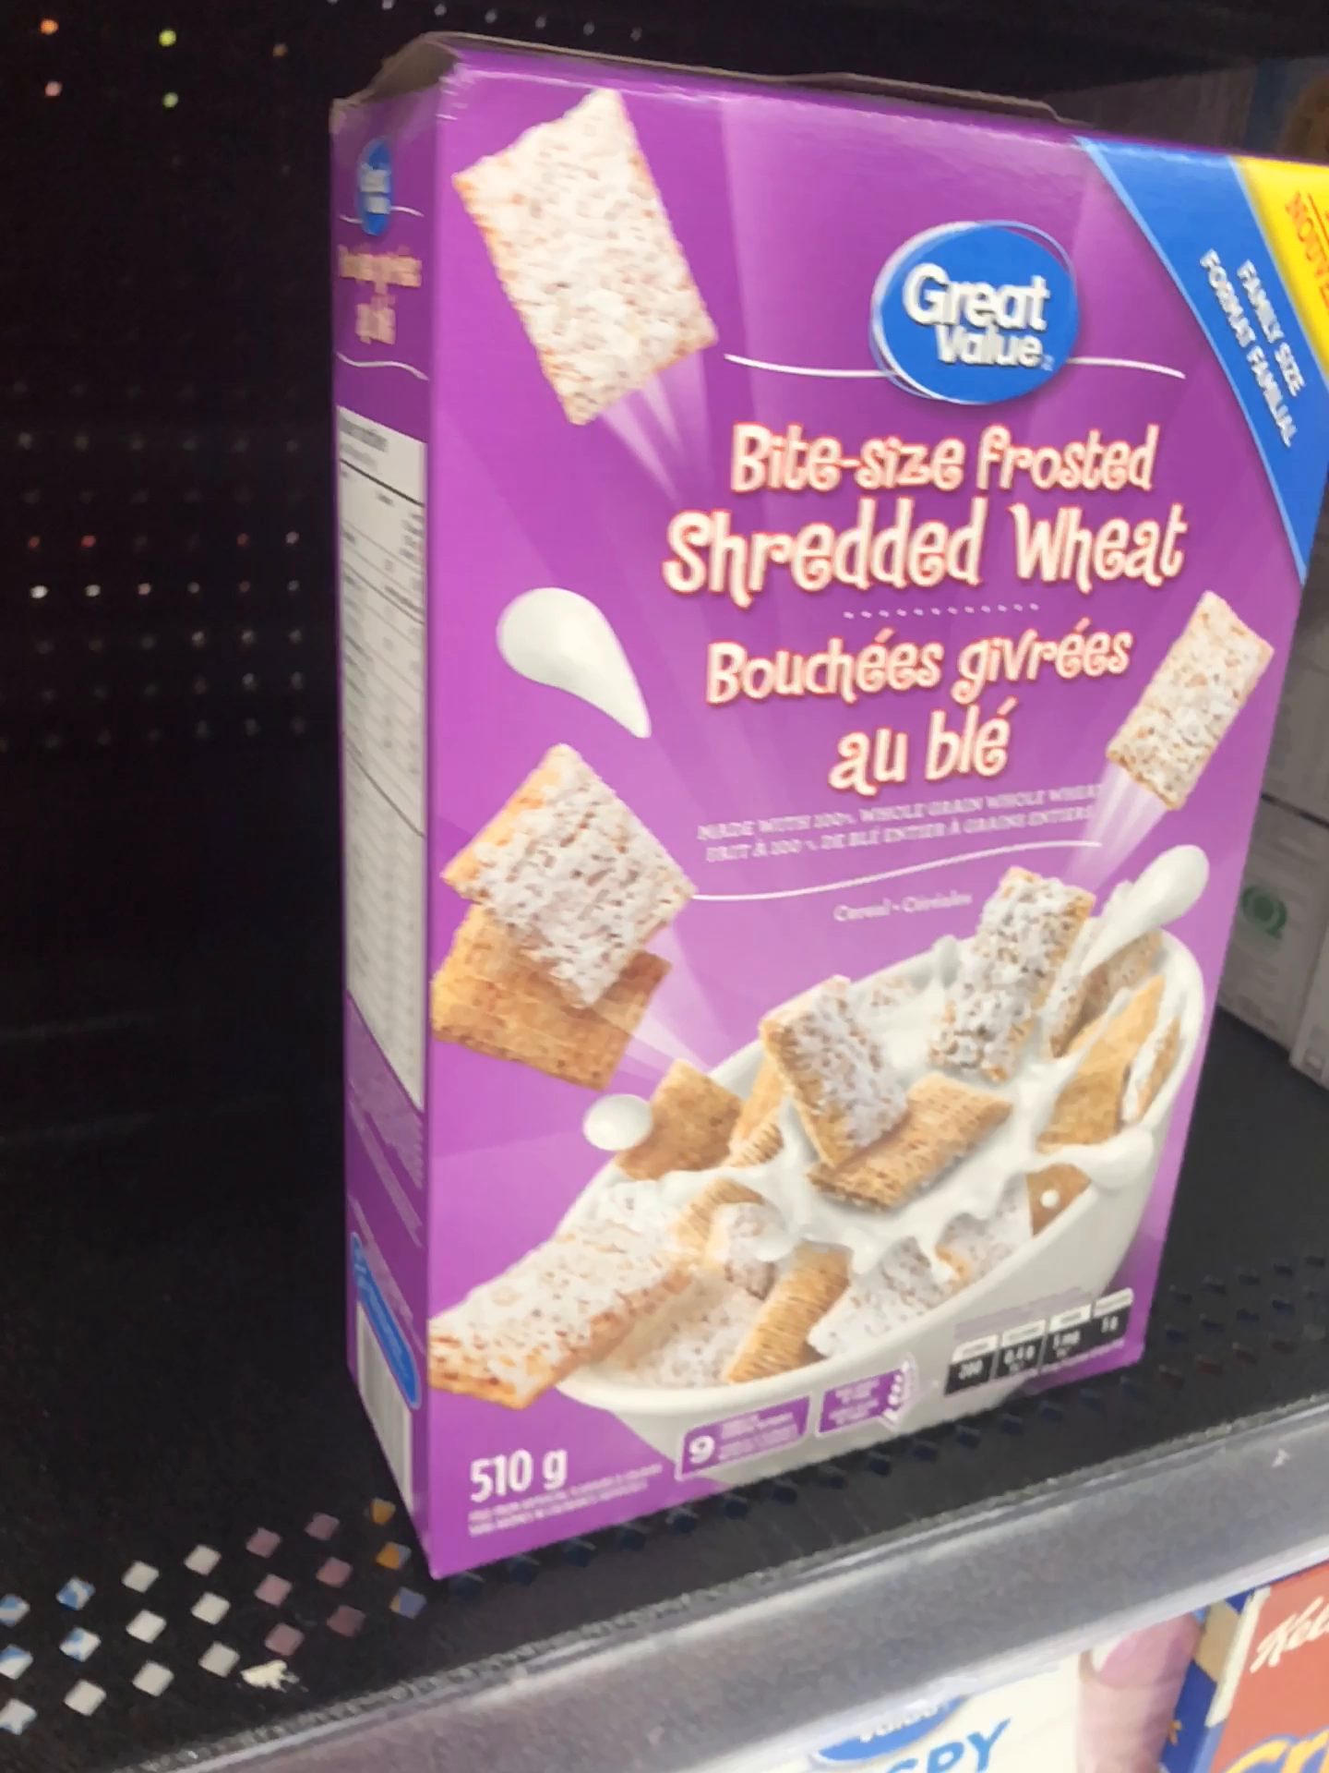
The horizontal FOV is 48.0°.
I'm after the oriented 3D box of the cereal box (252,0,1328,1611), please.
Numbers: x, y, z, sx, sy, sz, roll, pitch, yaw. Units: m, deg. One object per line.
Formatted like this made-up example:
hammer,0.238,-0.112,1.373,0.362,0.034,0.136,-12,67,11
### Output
cereal box,0.034,-0.012,0.310,0.210,0.279,0.070,-6,24,-24
